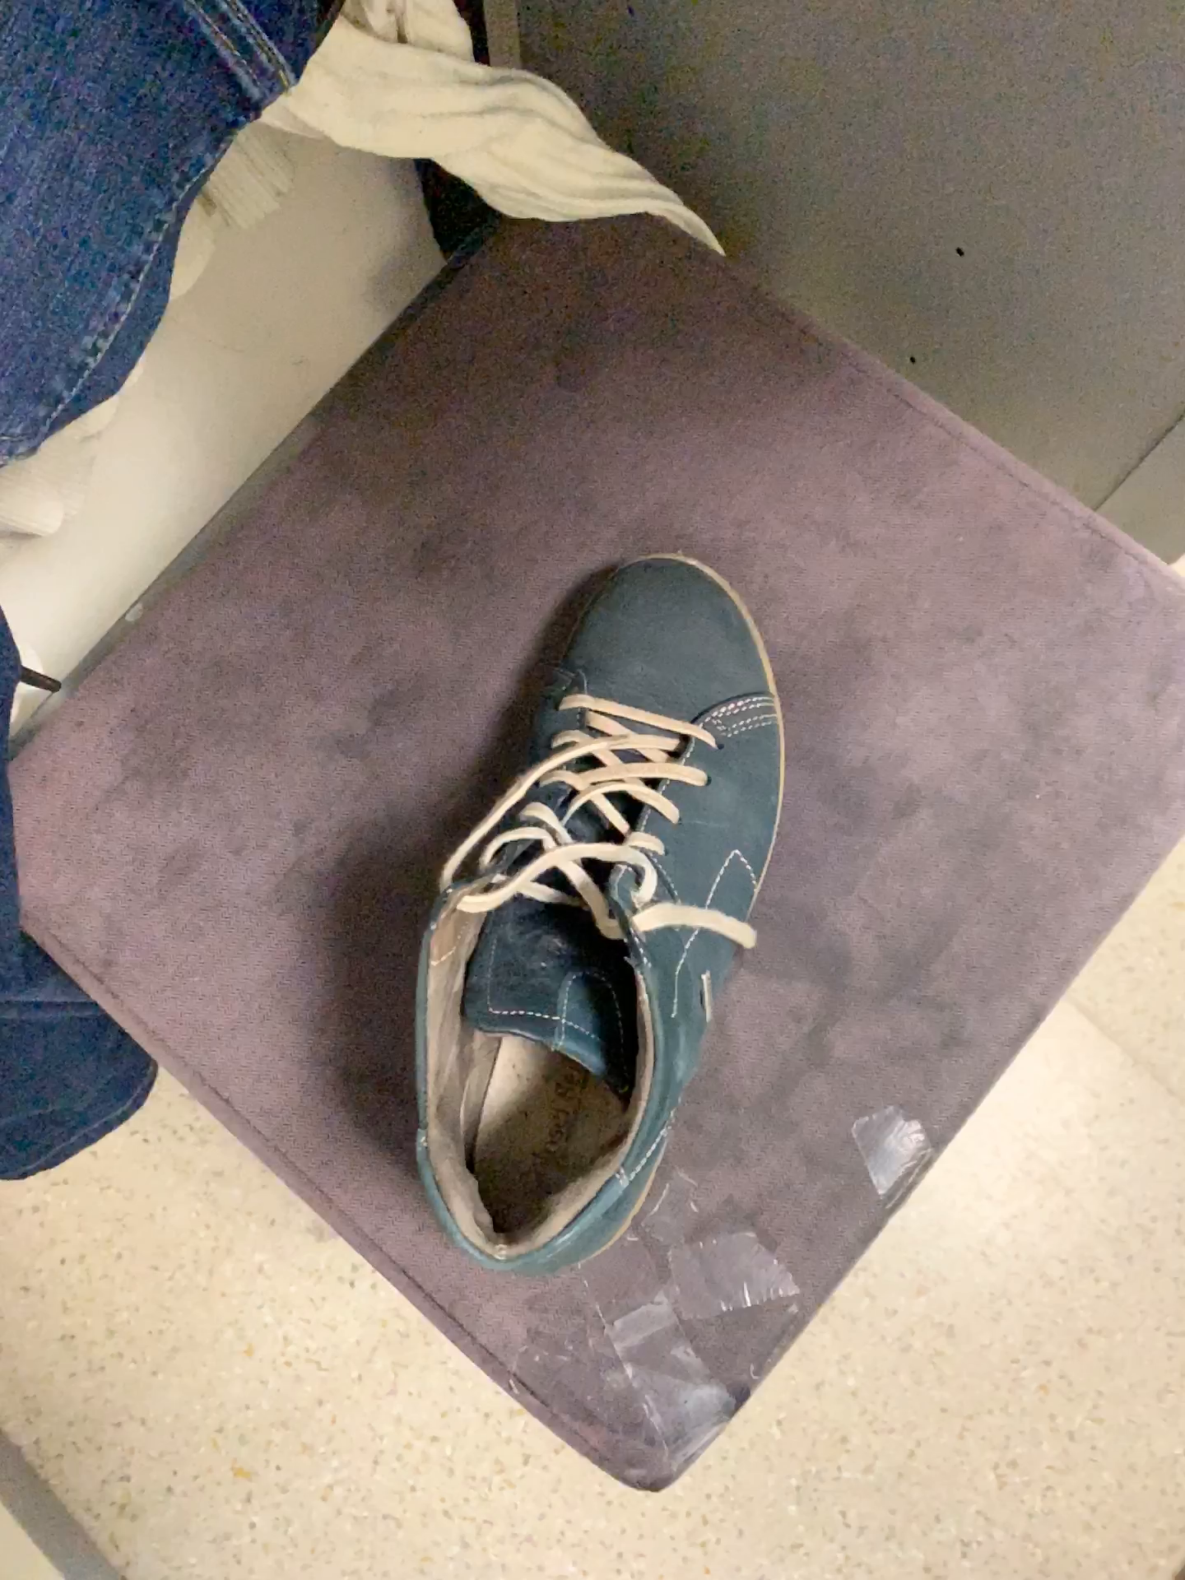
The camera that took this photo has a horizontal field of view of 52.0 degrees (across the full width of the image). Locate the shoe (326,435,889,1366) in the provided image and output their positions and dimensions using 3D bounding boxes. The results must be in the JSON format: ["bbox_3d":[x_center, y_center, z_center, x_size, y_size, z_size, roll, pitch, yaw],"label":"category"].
[{"bbox_3d":[0.011,0.035,0.412,0.103,0.143,0.245,13,80,5],"label":"shoe"}]
